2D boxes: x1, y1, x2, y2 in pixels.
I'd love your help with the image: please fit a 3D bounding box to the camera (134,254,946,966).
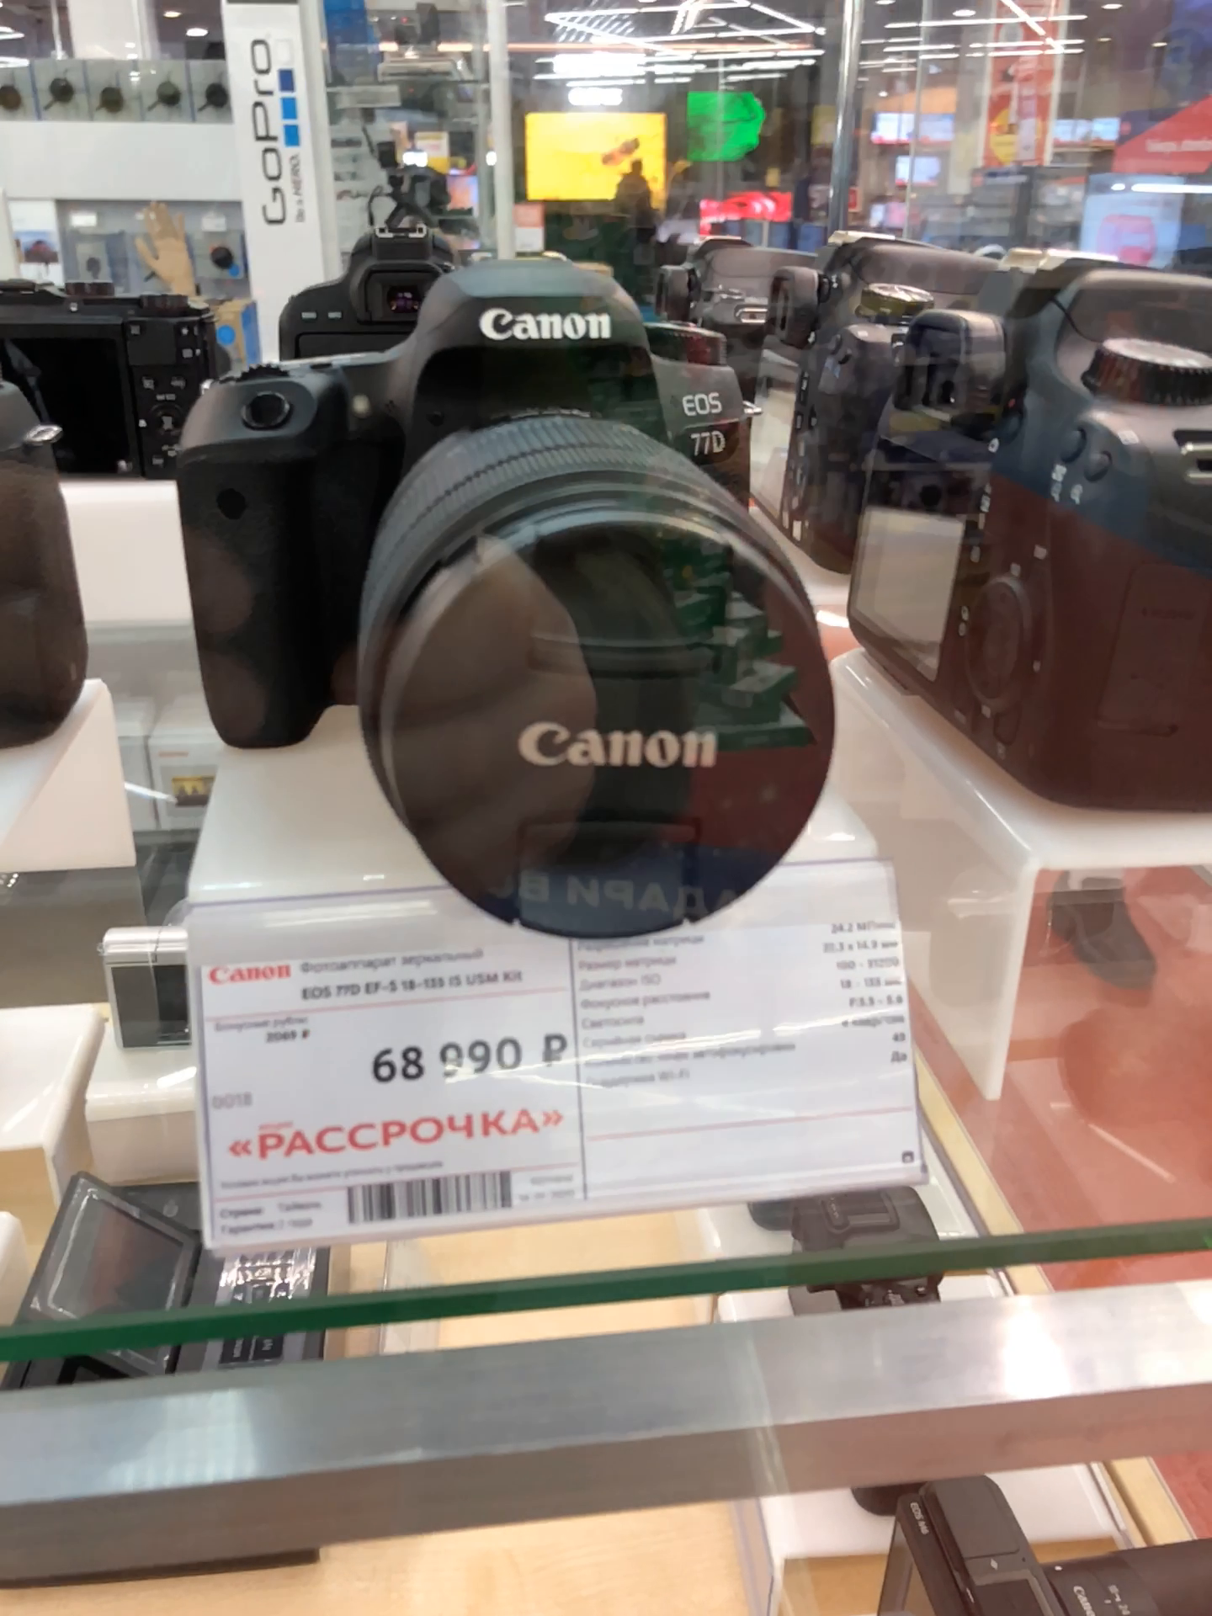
[{"bbox_3d":[-0.020,-0.063,0.316,0.132,0.119,0.168,-3,25,-7],"label":"camera"}]
